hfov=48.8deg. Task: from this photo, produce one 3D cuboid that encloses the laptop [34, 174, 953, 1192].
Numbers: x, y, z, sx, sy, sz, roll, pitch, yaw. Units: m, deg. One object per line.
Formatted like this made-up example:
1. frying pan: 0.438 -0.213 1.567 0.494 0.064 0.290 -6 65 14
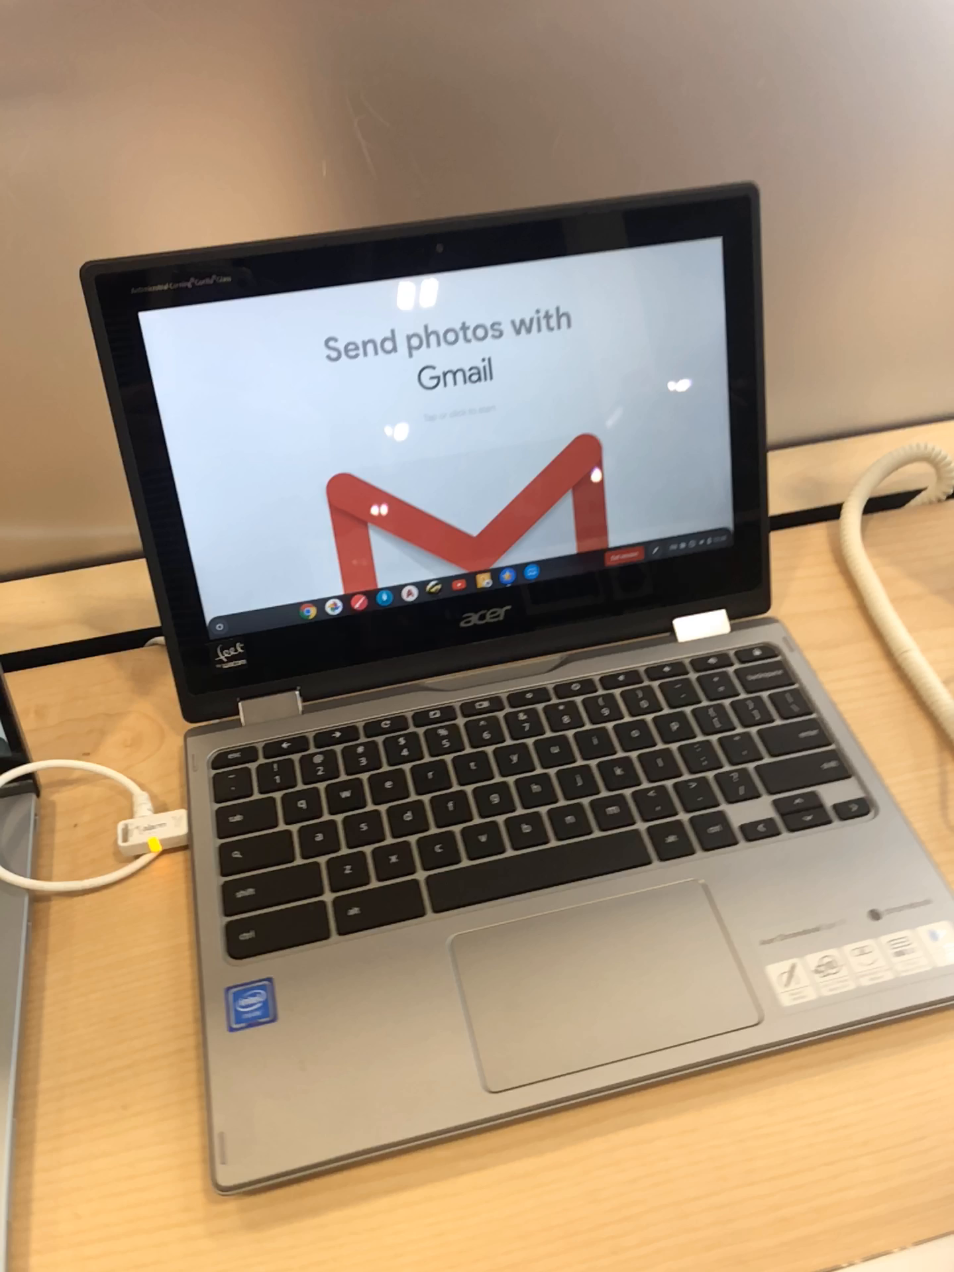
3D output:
1. laptop: 0.013 -0.011 0.402 0.287 0.176 0.296 -11 47 -9
